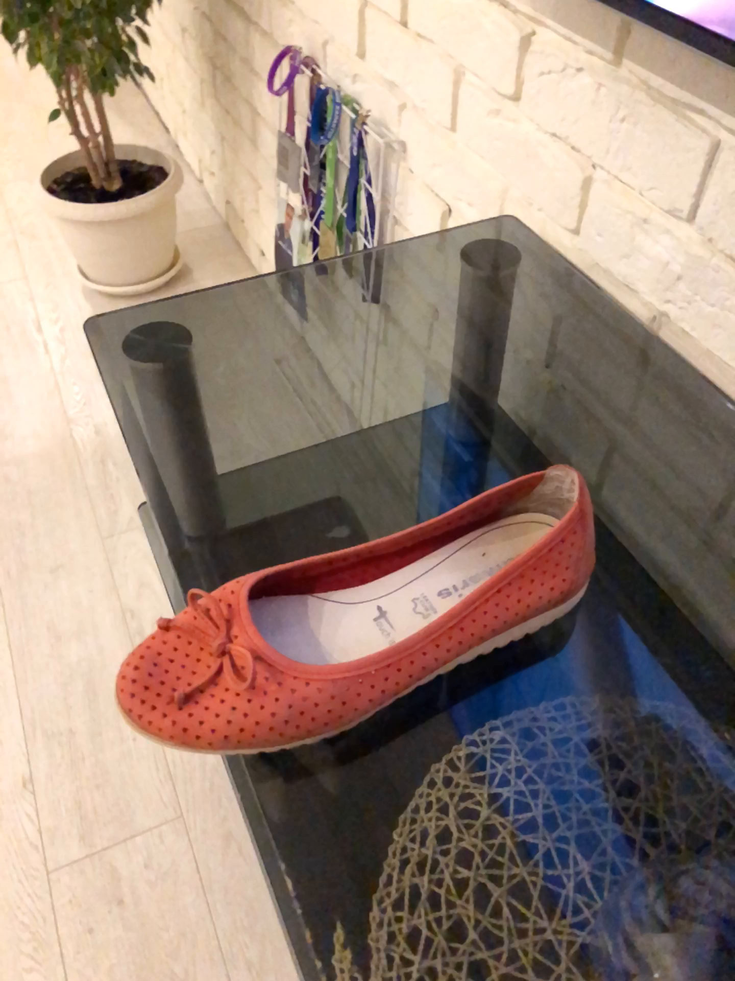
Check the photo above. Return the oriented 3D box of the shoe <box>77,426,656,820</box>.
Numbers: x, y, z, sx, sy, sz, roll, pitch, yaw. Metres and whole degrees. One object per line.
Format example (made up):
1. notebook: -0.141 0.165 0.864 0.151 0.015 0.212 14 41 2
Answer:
1. shoe: 0.001 0.057 0.394 0.247 0.079 0.090 -16 48 -16
